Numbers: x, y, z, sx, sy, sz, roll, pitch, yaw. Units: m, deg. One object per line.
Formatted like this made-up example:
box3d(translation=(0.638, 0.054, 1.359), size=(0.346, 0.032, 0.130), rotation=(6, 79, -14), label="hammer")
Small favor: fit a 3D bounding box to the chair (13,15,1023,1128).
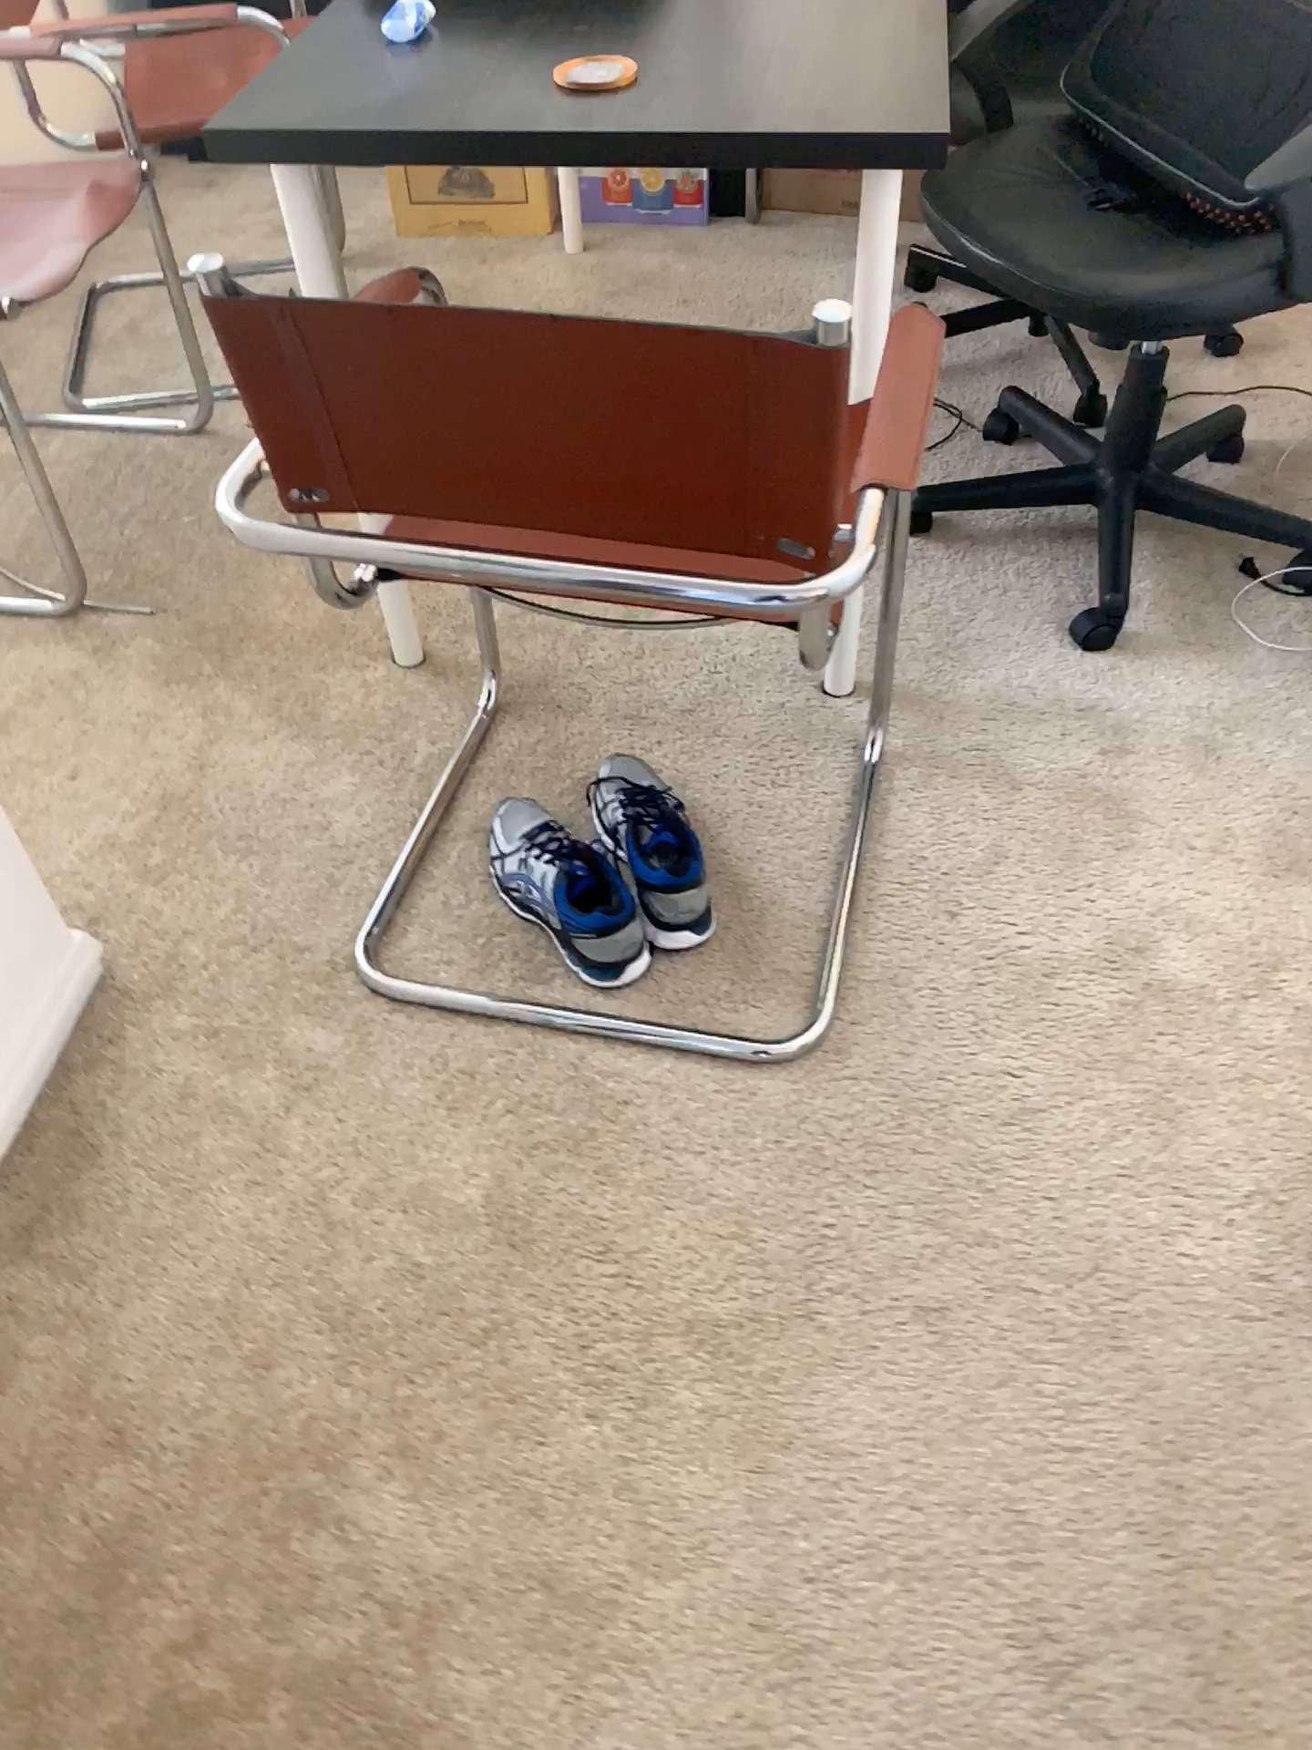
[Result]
box3d(translation=(-0.039, -0.289, 1.330), size=(0.621, 0.805, 0.623), rotation=(9, 48, 11), label="chair")
